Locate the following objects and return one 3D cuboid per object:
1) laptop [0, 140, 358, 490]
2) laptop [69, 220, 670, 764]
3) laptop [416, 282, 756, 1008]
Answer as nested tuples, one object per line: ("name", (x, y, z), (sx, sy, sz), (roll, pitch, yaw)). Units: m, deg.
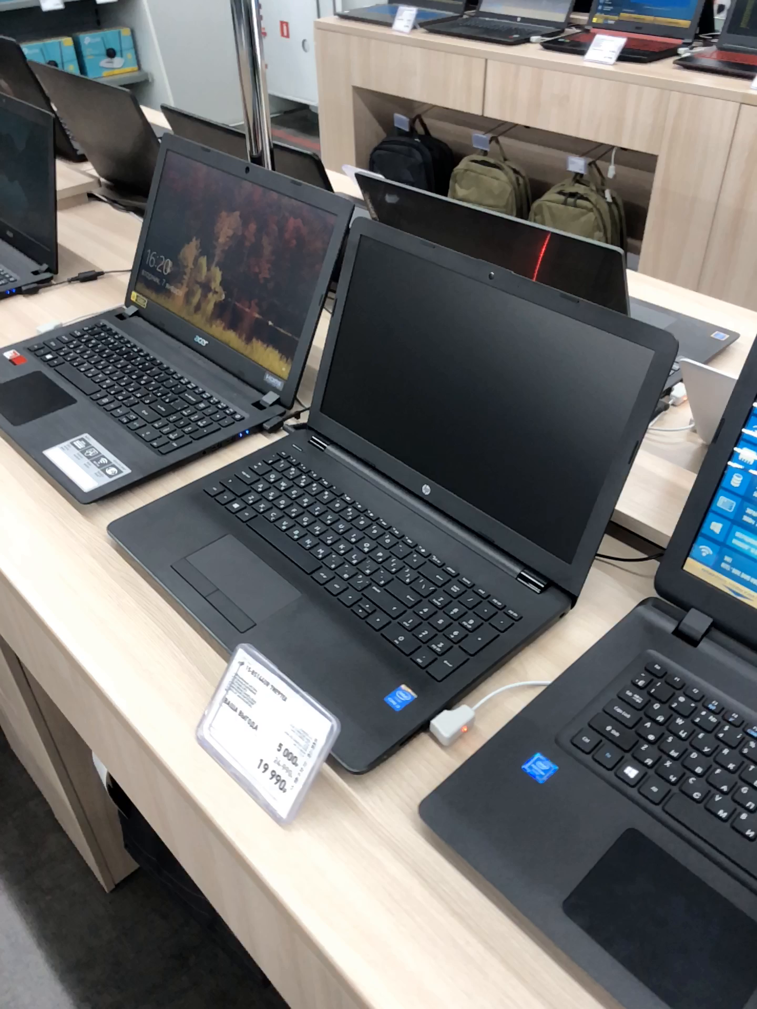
("laptop", (-0.293, -0.252, 0.998), (0.351, 0.226, 0.360), (-30, 47, -32))
("laptop", (-0.015, -0.056, 0.744), (0.334, 0.215, 0.378), (-31, 46, -31))
("laptop", (0.309, 0.104, 0.476), (0.396, 0.267, 0.397), (-28, 44, -31))
